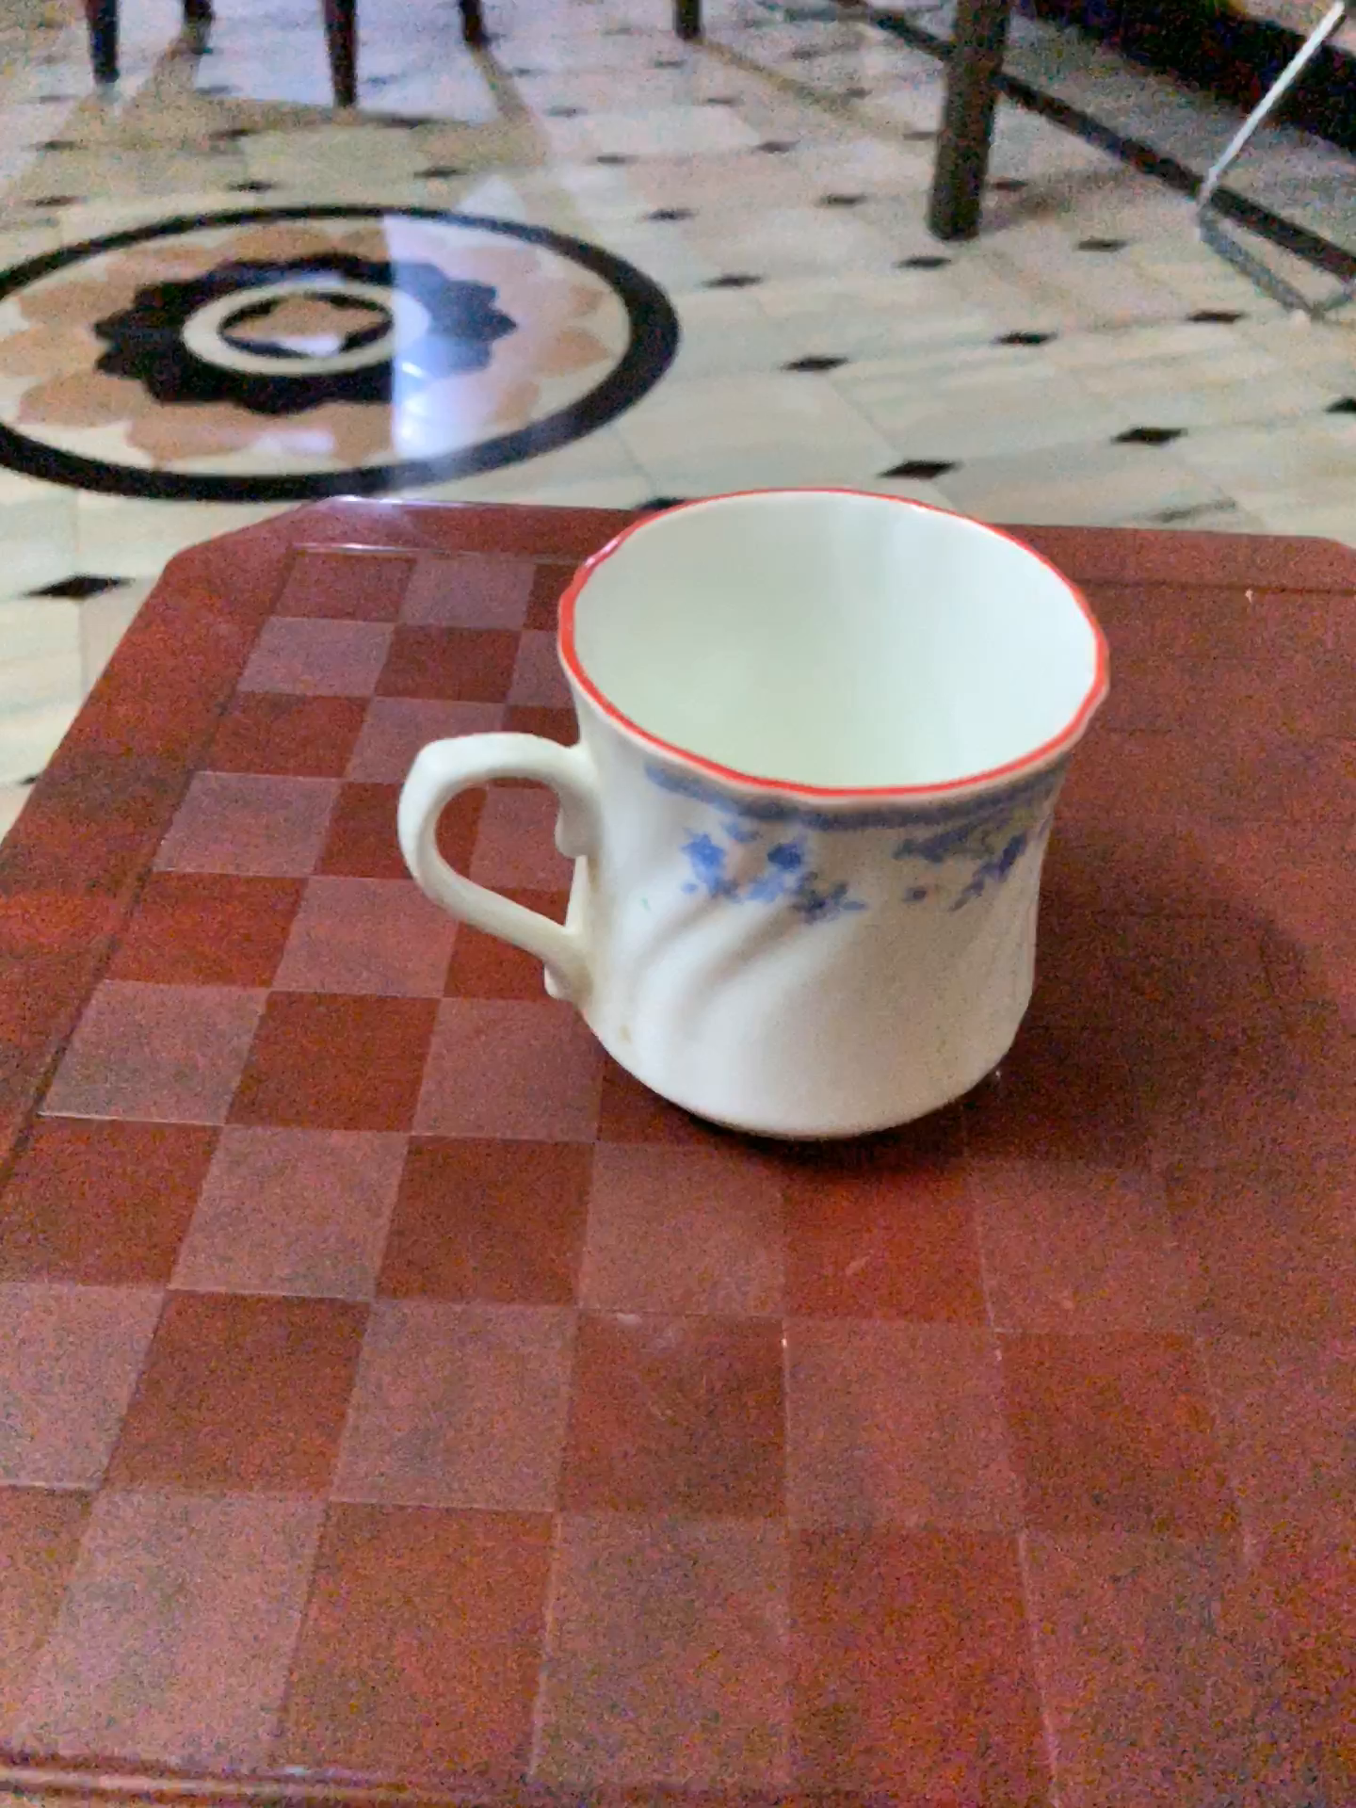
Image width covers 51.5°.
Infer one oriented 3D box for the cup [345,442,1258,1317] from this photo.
[{"bbox_3d":[0.010,-0.006,0.196,0.090,0.080,0.070,-12,45,-14],"label":"cup"}]
